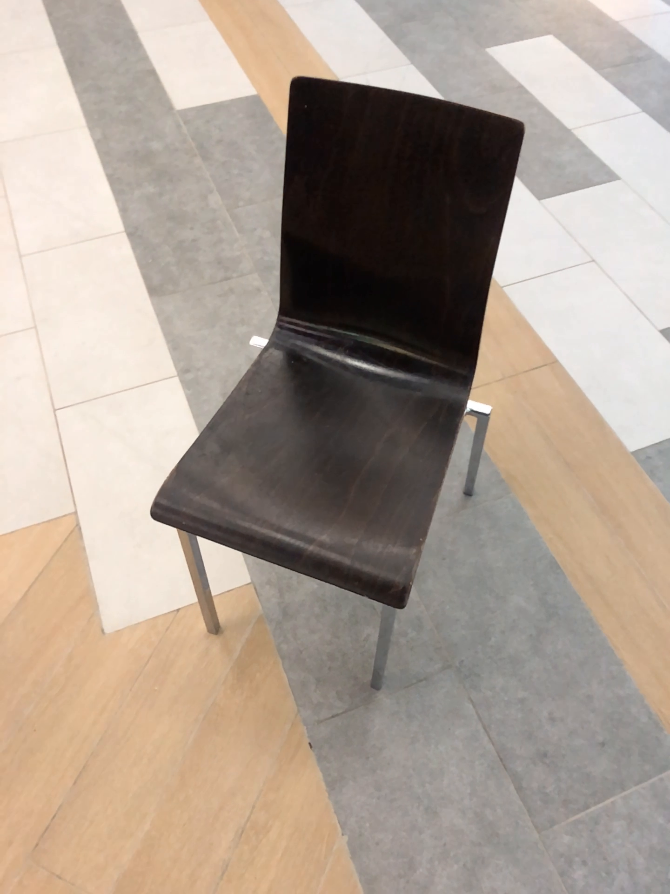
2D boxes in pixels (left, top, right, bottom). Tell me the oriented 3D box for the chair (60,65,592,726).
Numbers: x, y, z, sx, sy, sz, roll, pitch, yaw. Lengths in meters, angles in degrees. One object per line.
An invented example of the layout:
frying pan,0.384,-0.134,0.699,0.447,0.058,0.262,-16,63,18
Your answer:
chair,0.026,-0.019,1.174,0.434,0.848,0.544,18,55,13
